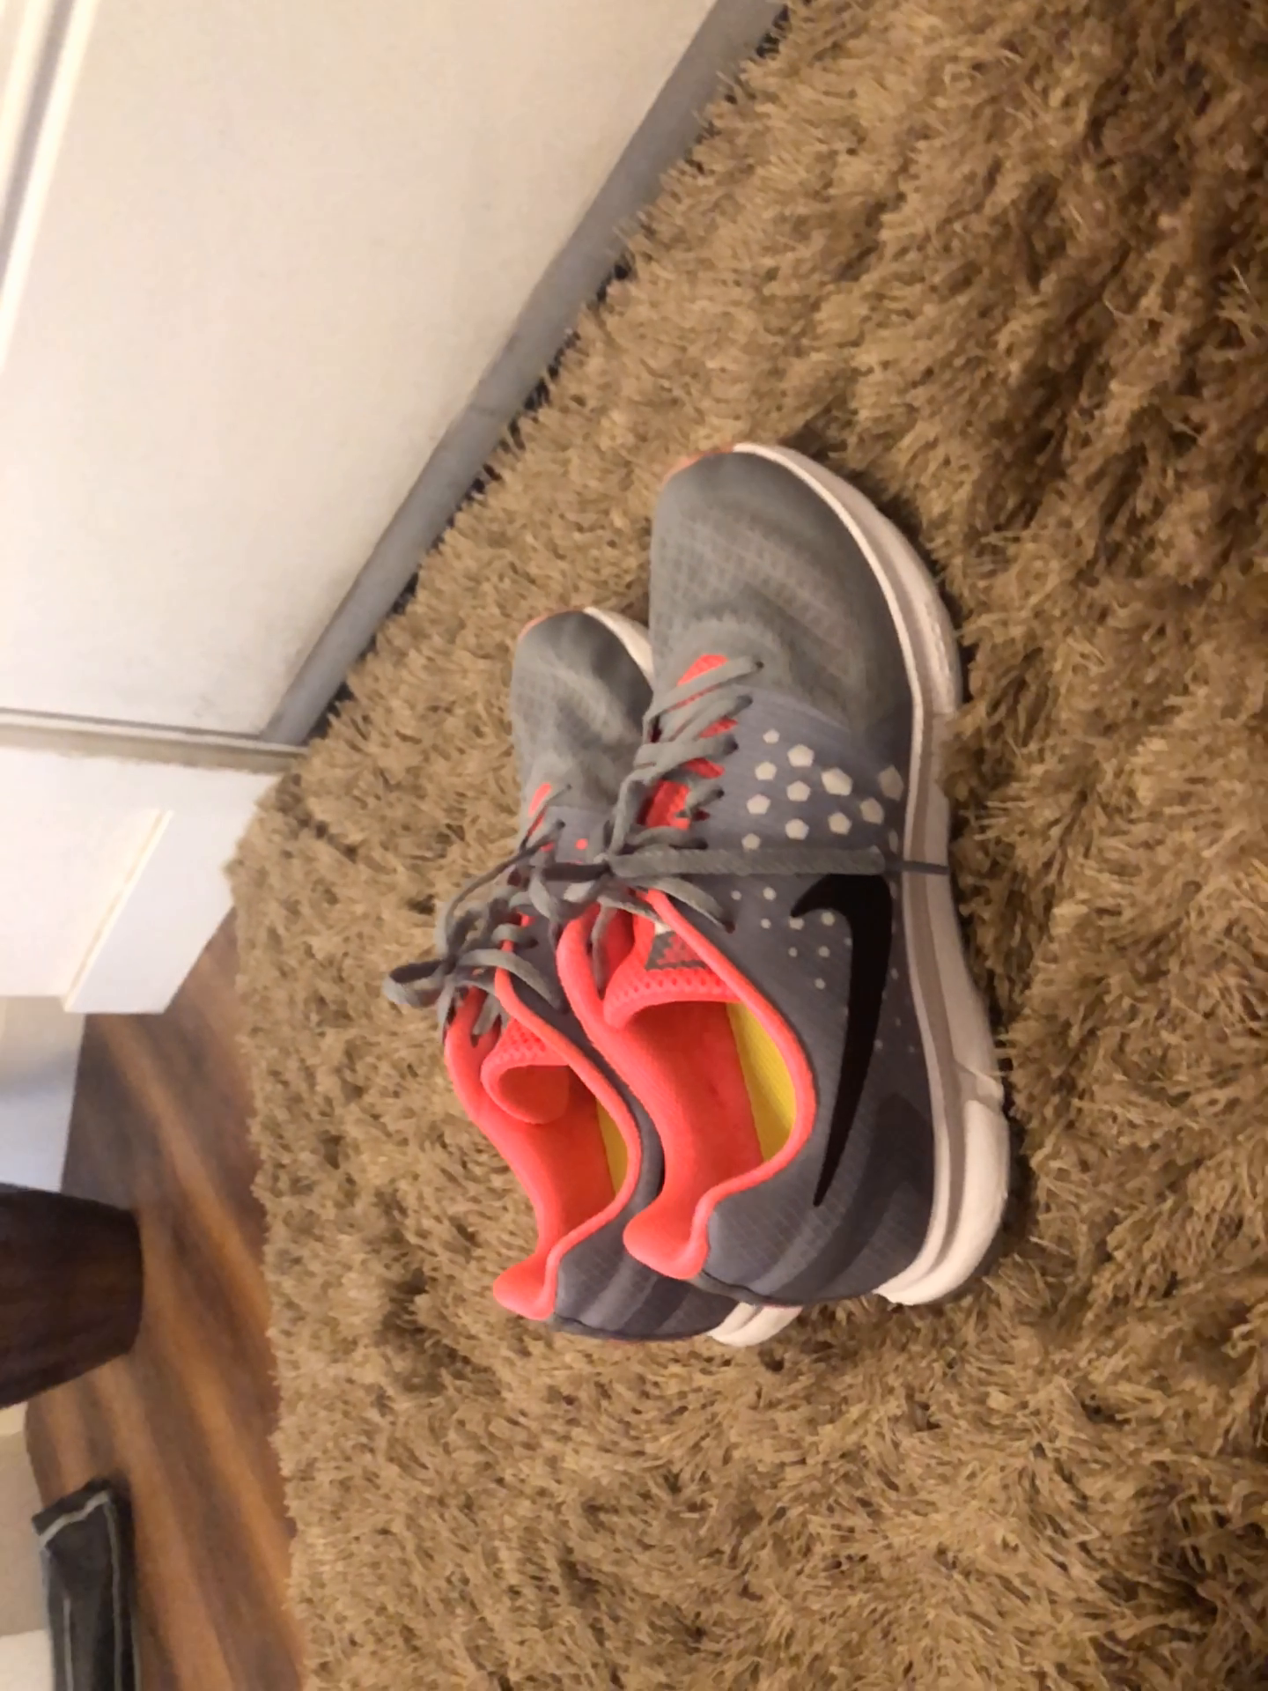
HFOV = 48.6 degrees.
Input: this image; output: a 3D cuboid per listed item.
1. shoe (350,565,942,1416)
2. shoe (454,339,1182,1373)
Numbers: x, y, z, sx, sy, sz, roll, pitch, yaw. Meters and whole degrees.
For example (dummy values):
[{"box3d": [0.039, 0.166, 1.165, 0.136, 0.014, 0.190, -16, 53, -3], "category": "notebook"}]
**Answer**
[{"box3d": [-0.010, 0.049, 0.518, 0.114, 0.121, 0.270, -44, 51, 46], "category": "shoe"}, {"box3d": [0.040, 0.005, 0.432, 0.119, 0.118, 0.270, -38, 56, 49], "category": "shoe"}]
